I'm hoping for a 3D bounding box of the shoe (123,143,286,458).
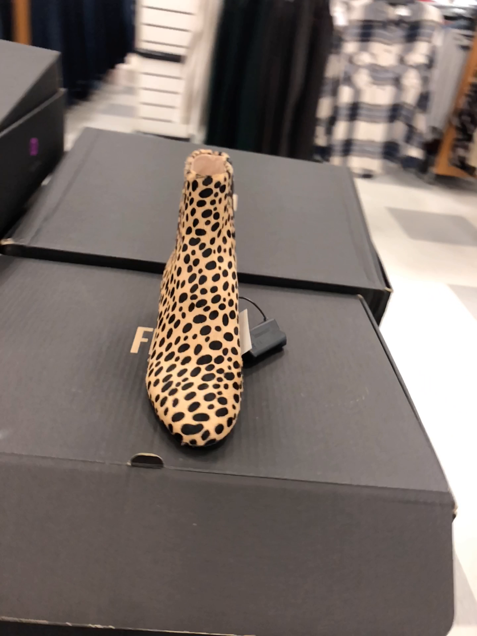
[{"bbox_3d":[-0.028,-0.034,0.460,0.093,0.163,0.250,7,31,-4],"label":"shoe"}]
